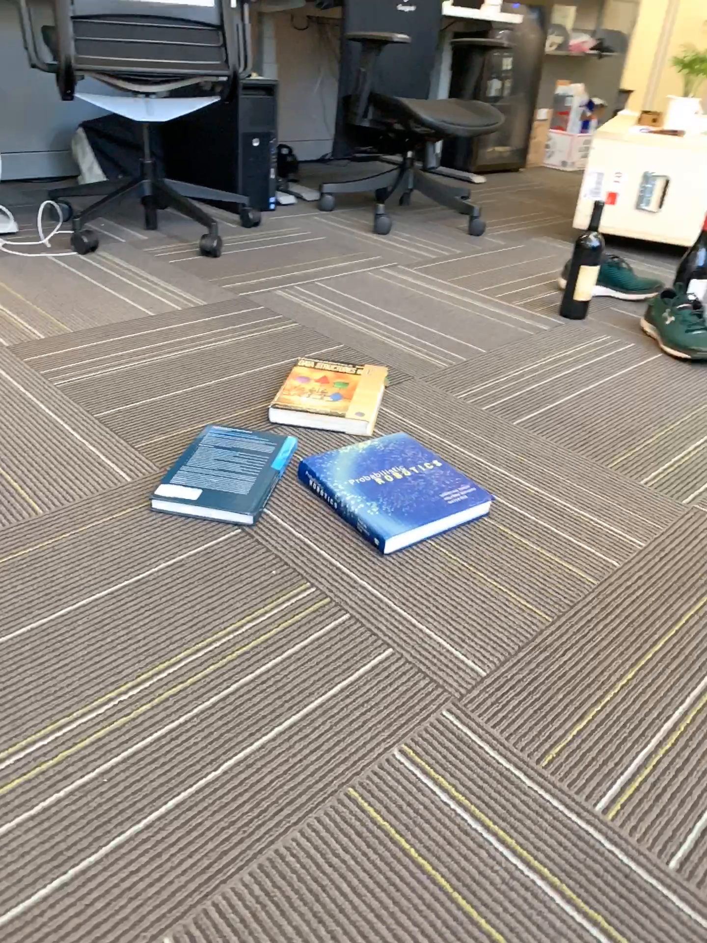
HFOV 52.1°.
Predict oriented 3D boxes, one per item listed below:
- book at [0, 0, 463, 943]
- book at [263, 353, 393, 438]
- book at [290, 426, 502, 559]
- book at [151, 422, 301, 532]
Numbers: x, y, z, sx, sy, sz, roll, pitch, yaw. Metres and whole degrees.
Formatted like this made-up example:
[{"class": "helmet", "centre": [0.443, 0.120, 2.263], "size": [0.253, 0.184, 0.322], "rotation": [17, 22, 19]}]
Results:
[{"class": "book", "centre": [-0.040, -0.152, 1.385], "size": [0.031, 1.491, 6.536], "rotation": [9, 32, 6]}, {"class": "book", "centre": [-0.040, -0.152, 1.385], "size": [0.200, 0.030, 0.261], "rotation": [9, 32, 6]}, {"class": "book", "centre": [0.060, 0.020, 1.103], "size": [0.210, 0.030, 0.251], "rotation": [-18, 38, -32]}, {"class": "book", "centre": [-0.188, 0.001, 1.119], "size": [0.160, 0.030, 0.231], "rotation": [9, 32, 7]}]
